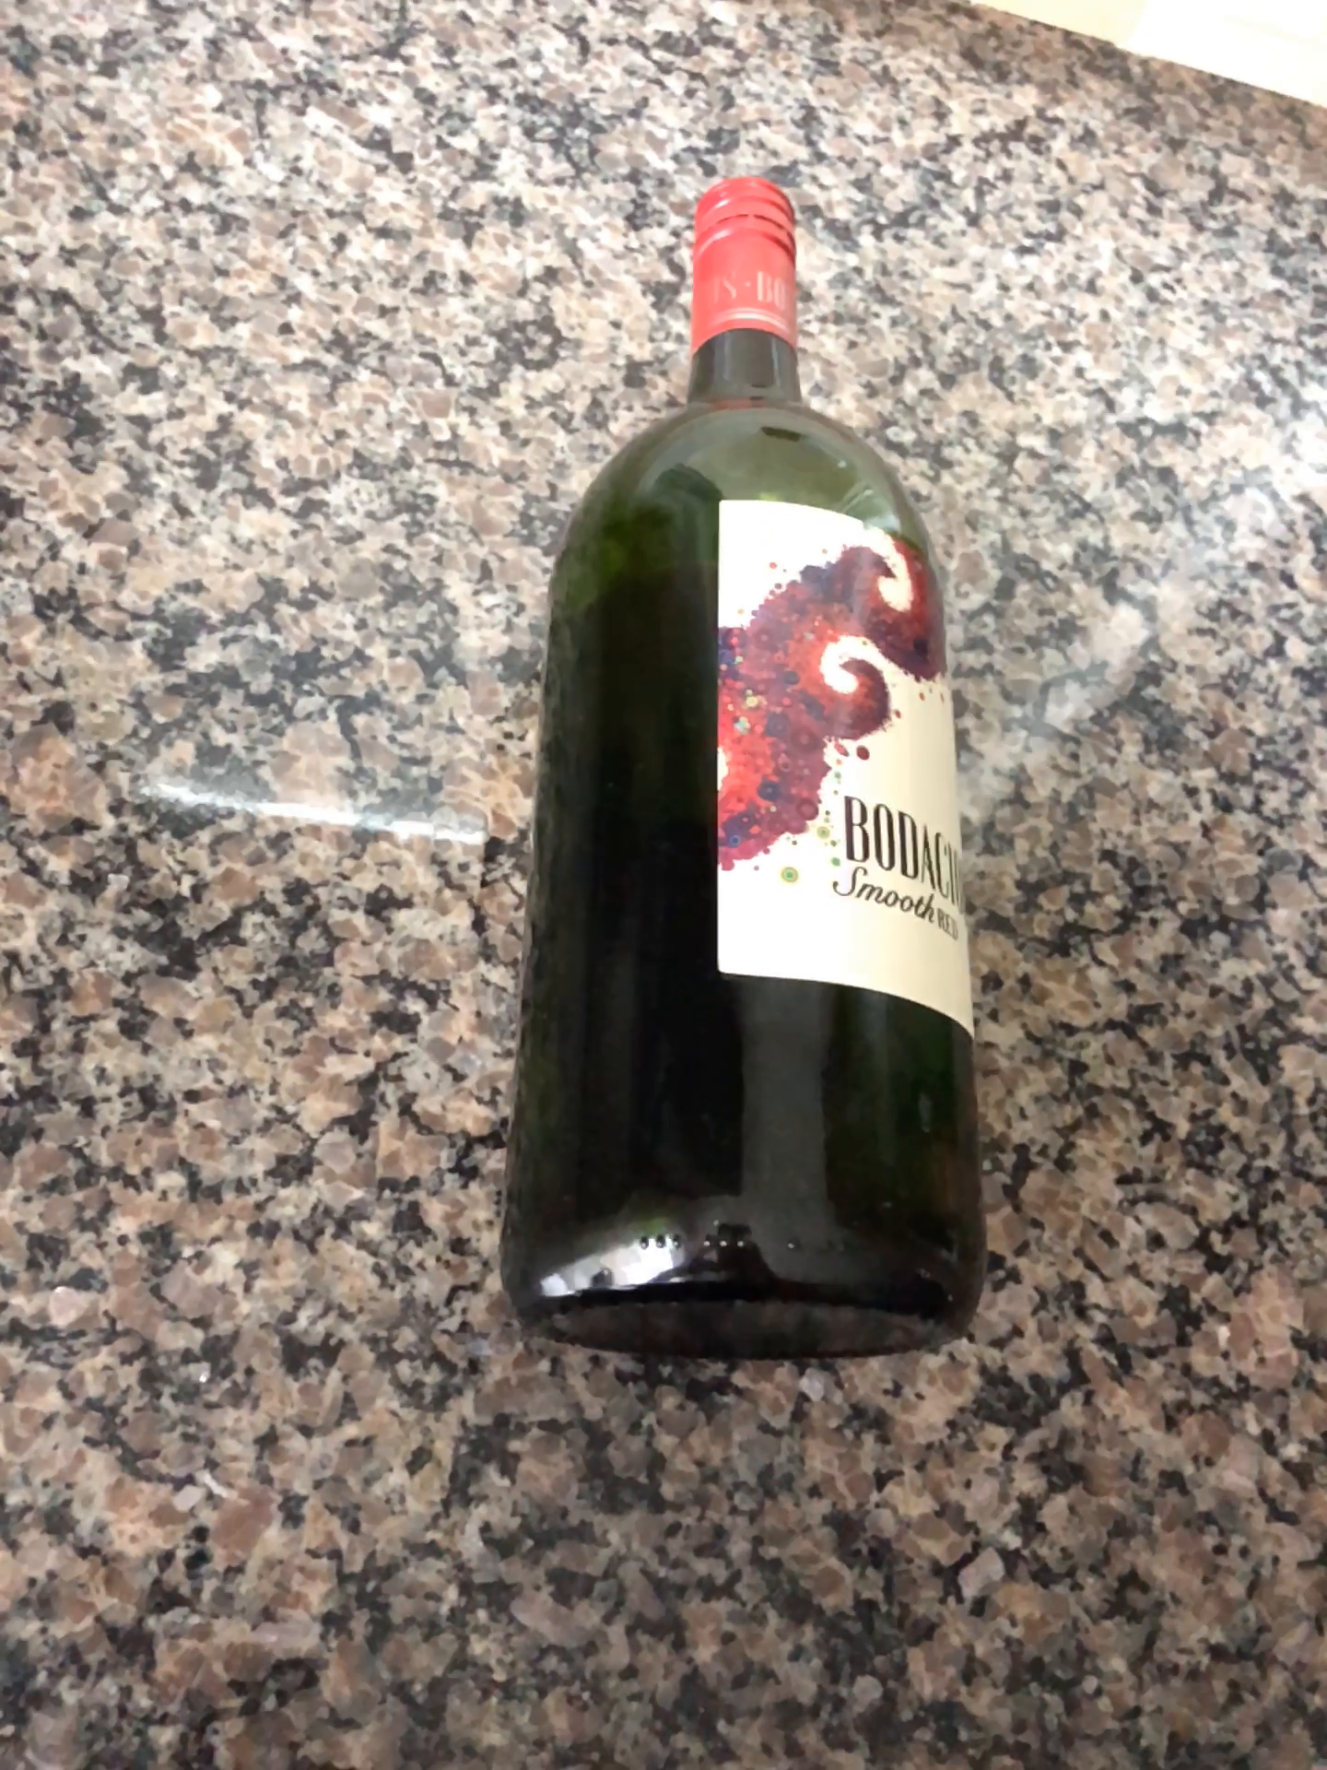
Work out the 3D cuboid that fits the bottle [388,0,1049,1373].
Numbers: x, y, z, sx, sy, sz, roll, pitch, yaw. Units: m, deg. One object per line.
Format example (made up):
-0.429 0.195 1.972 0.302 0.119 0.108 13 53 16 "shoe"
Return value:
0.021 -0.063 0.371 0.100 0.110 0.340 -9 63 22 "bottle"
